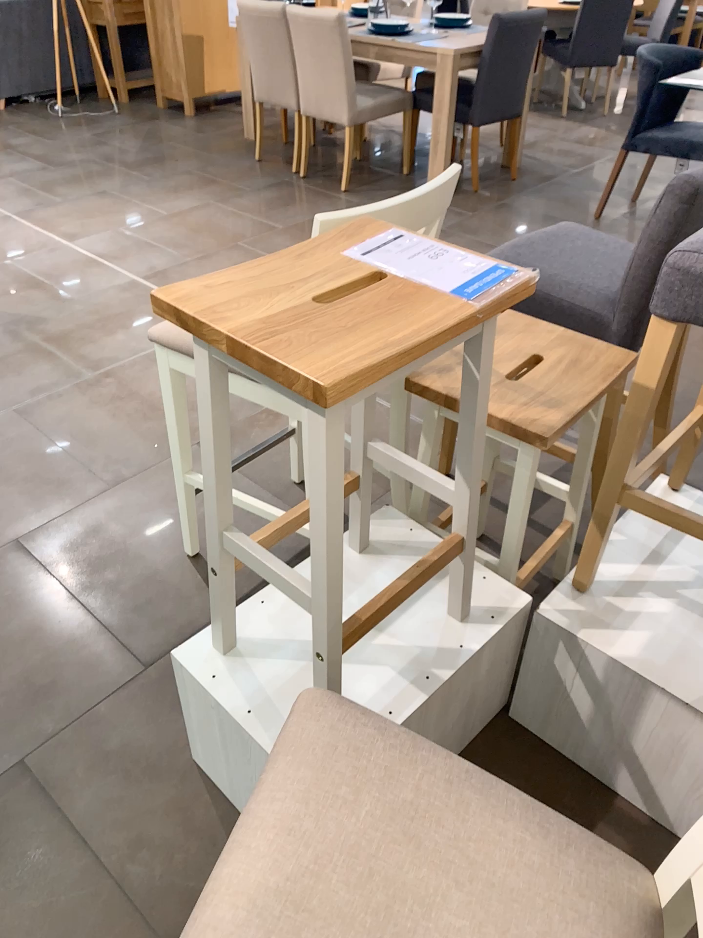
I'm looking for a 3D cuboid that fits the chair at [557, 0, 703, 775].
[{"bbox_3d":[0.737,-0.173,1.005,0.534,0.984,0.469,31,46,33],"label":"chair"}]

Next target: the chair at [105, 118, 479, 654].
[{"bbox_3d":[-0.108,-0.170,1.570,0.503,0.954,0.440,26,44,28],"label":"chair"}]

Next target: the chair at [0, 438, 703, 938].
[{"bbox_3d":[0.082,0.528,0.665,0.512,0.944,0.421,14,39,16],"label":"chair"}]

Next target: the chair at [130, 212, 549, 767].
[{"bbox_3d":[-0.011,0.026,1.063,0.323,0.638,0.399,31,47,33],"label":"chair"}]
